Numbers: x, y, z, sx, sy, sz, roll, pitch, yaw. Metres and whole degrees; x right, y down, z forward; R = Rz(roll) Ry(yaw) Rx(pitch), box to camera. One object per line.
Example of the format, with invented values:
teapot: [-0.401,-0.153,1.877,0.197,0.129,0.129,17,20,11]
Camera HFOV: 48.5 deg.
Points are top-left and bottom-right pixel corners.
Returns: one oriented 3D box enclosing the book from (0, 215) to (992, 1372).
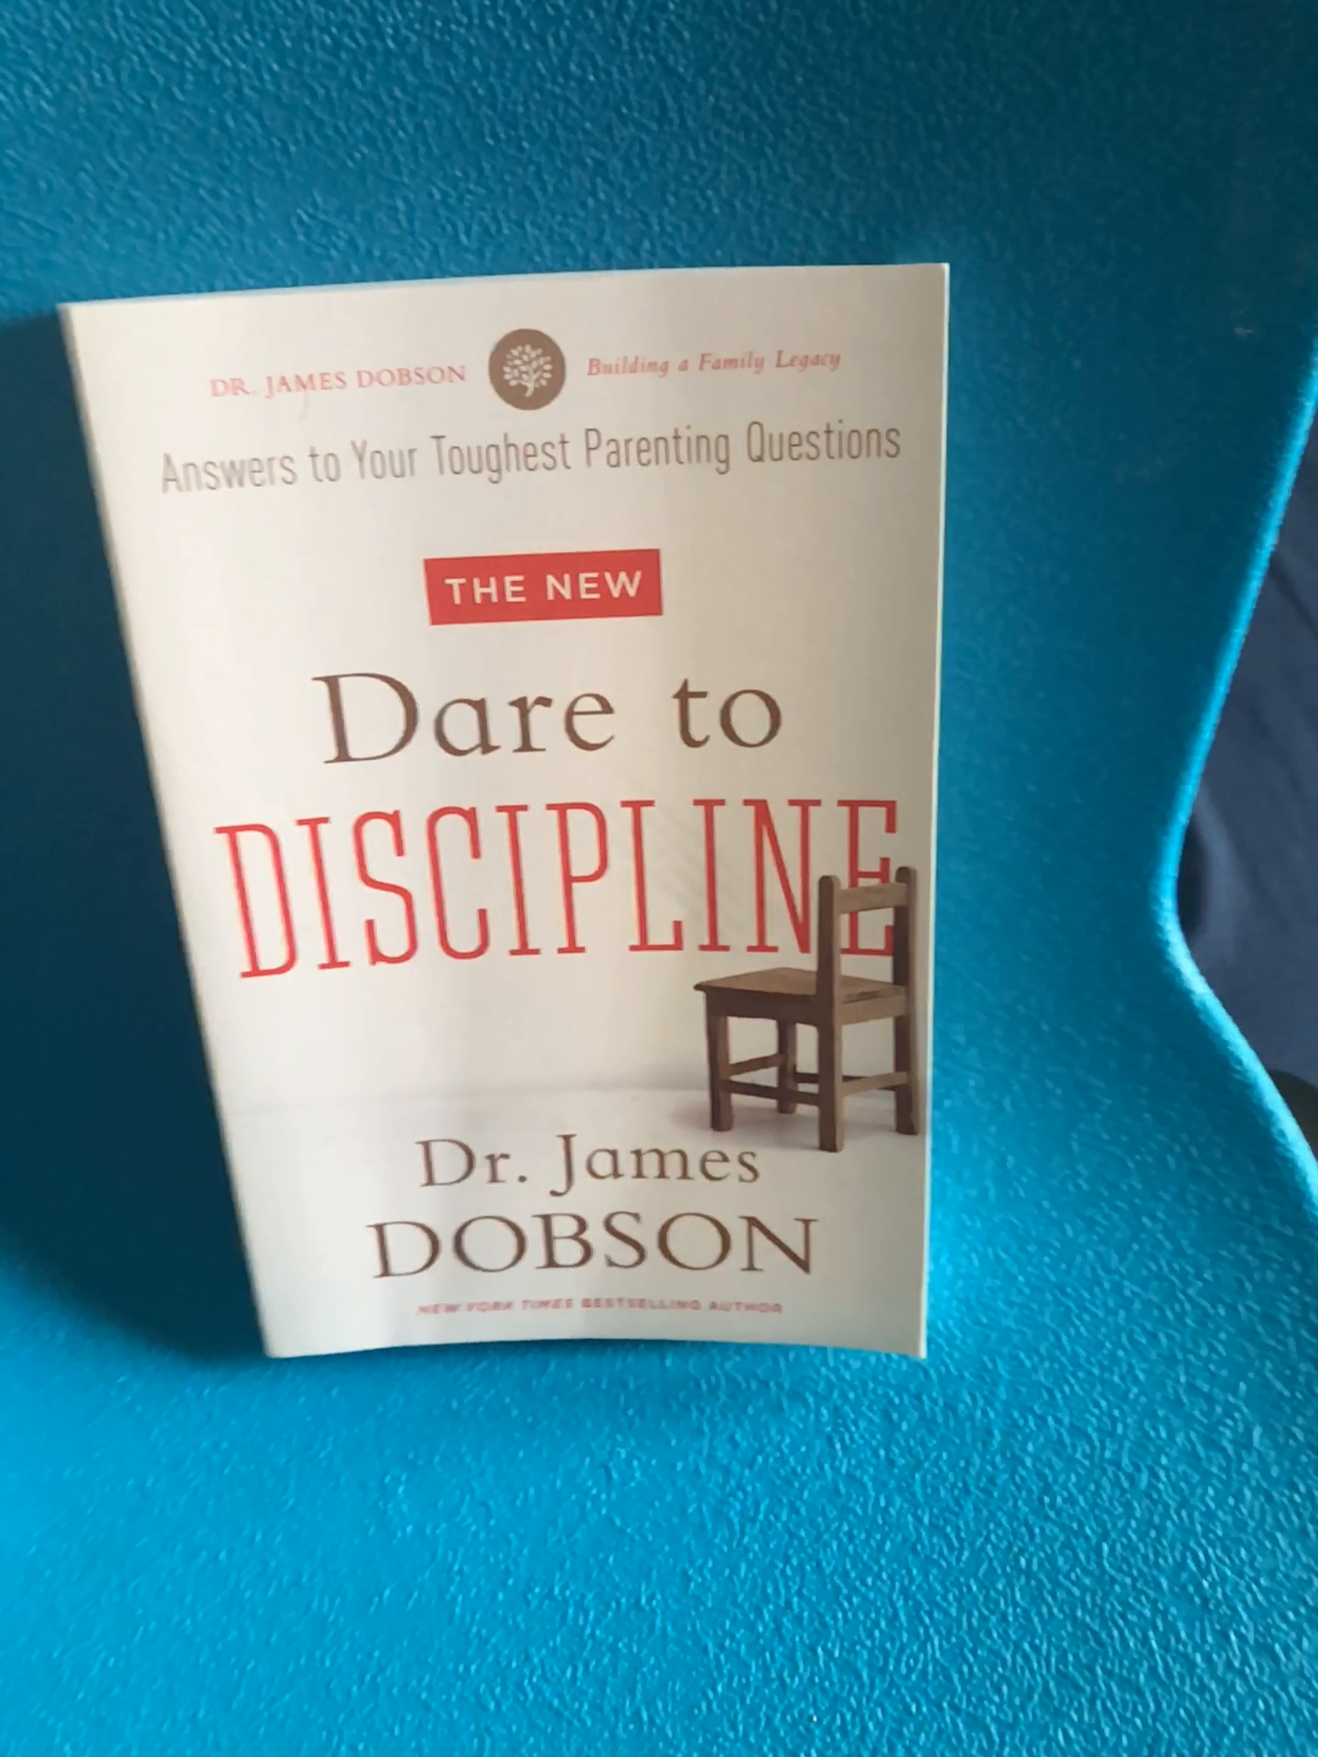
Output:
book: [-0.020,-0.007,0.269,0.150,0.199,0.040,-2,18,3]
